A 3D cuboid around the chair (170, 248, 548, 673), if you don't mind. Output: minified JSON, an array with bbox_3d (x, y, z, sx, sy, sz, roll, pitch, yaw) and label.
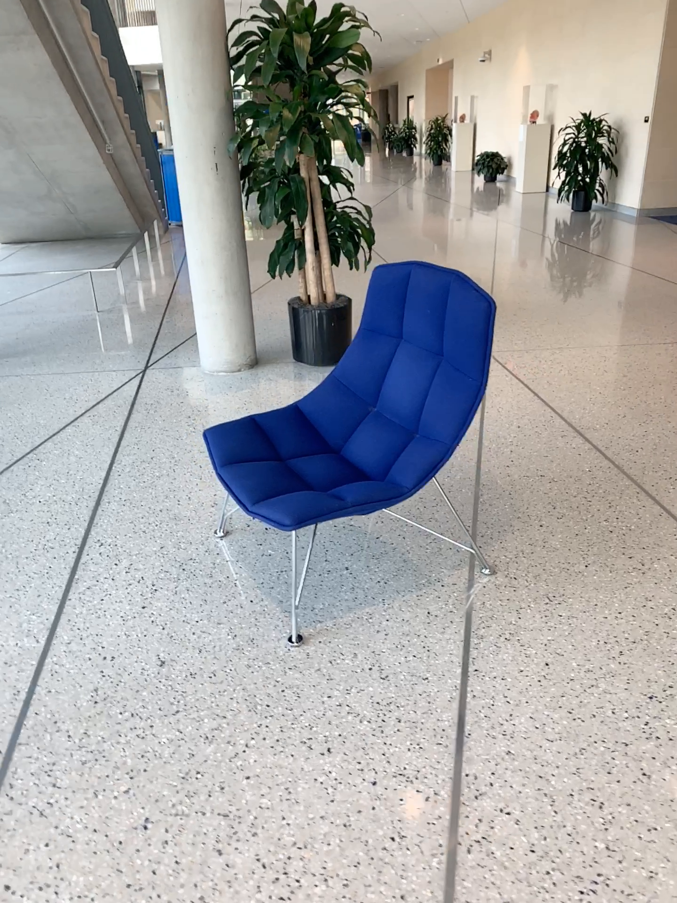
[{"bbox_3d":[0.032,-0.062,2.213,0.829,0.964,0.803,-14,27,-23],"label":"chair"}]
